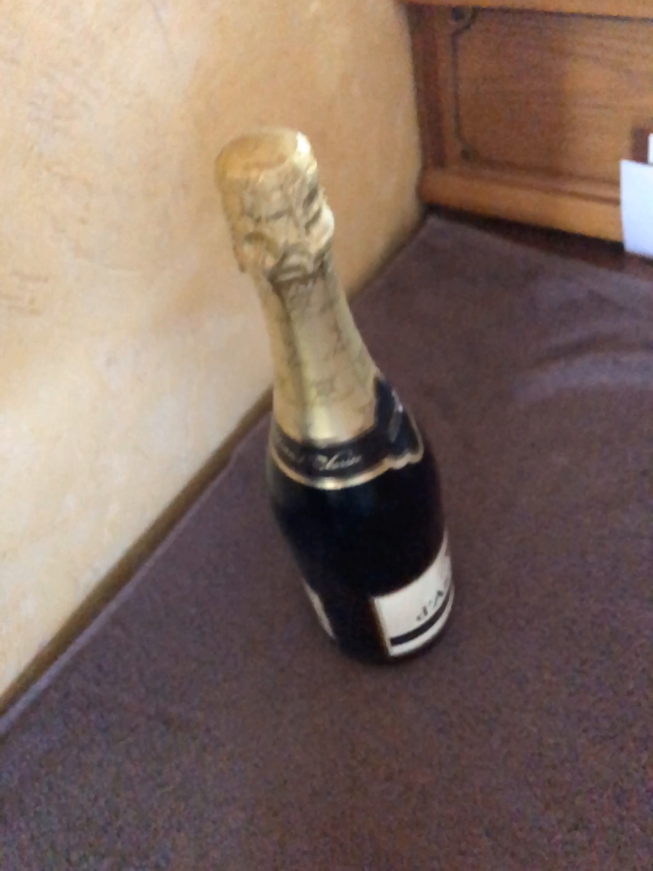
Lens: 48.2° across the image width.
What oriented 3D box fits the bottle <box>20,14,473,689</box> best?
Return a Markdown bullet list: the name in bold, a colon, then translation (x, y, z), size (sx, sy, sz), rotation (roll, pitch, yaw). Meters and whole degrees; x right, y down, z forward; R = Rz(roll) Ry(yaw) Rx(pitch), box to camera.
- **bottle**: translation (0.005, 0.001, 0.336), size (0.100, 0.318, 0.101), rotation (-7, 51, 8)
